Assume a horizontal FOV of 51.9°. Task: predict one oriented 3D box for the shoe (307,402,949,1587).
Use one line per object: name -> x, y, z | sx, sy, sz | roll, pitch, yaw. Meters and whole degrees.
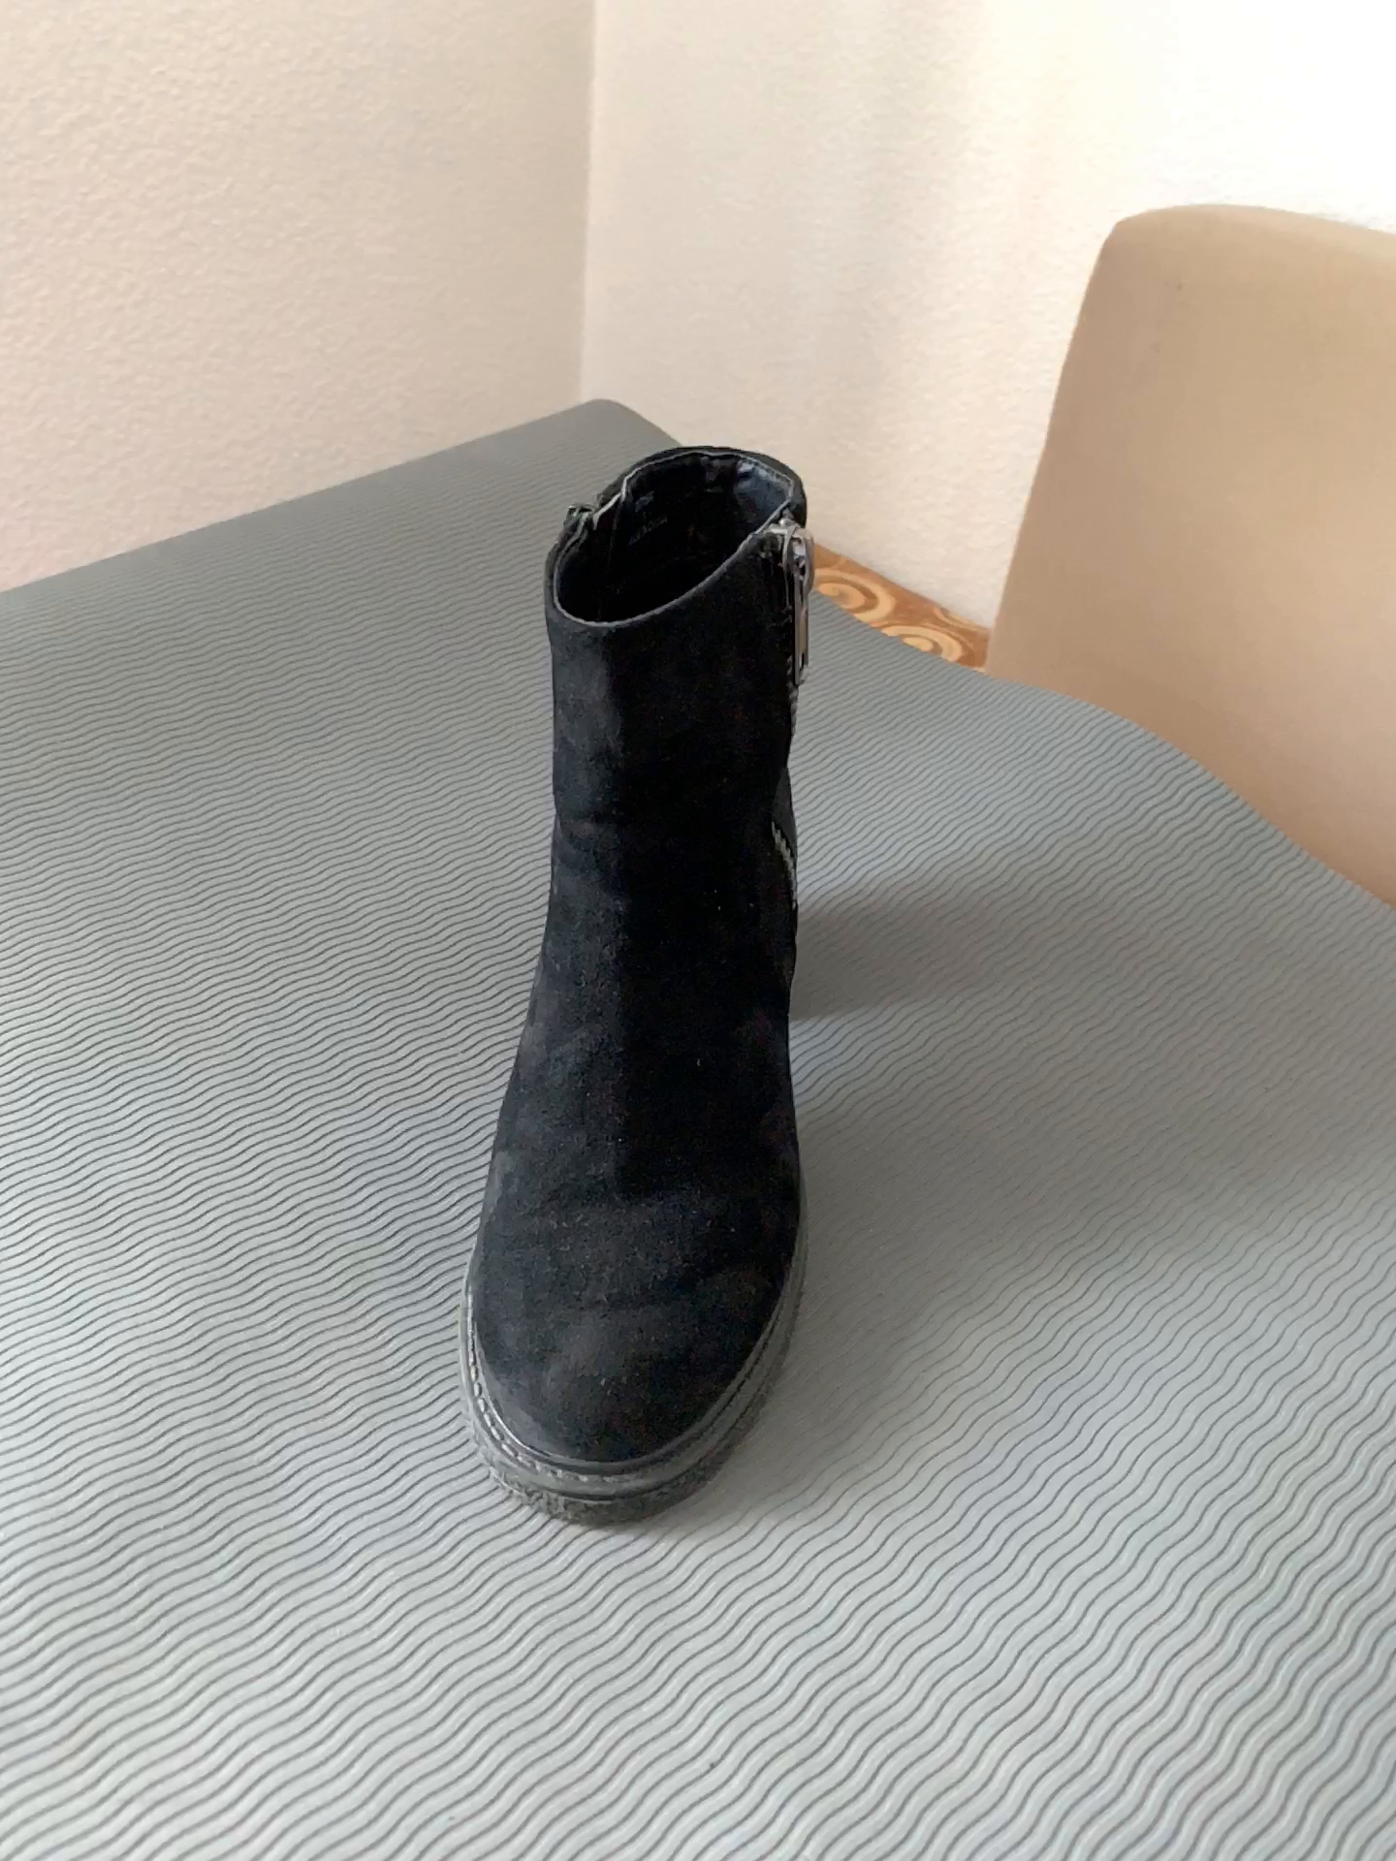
shoe -> -0.005, -0.003, 0.366 | 0.098, 0.179, 0.241 | 8, 36, 2
